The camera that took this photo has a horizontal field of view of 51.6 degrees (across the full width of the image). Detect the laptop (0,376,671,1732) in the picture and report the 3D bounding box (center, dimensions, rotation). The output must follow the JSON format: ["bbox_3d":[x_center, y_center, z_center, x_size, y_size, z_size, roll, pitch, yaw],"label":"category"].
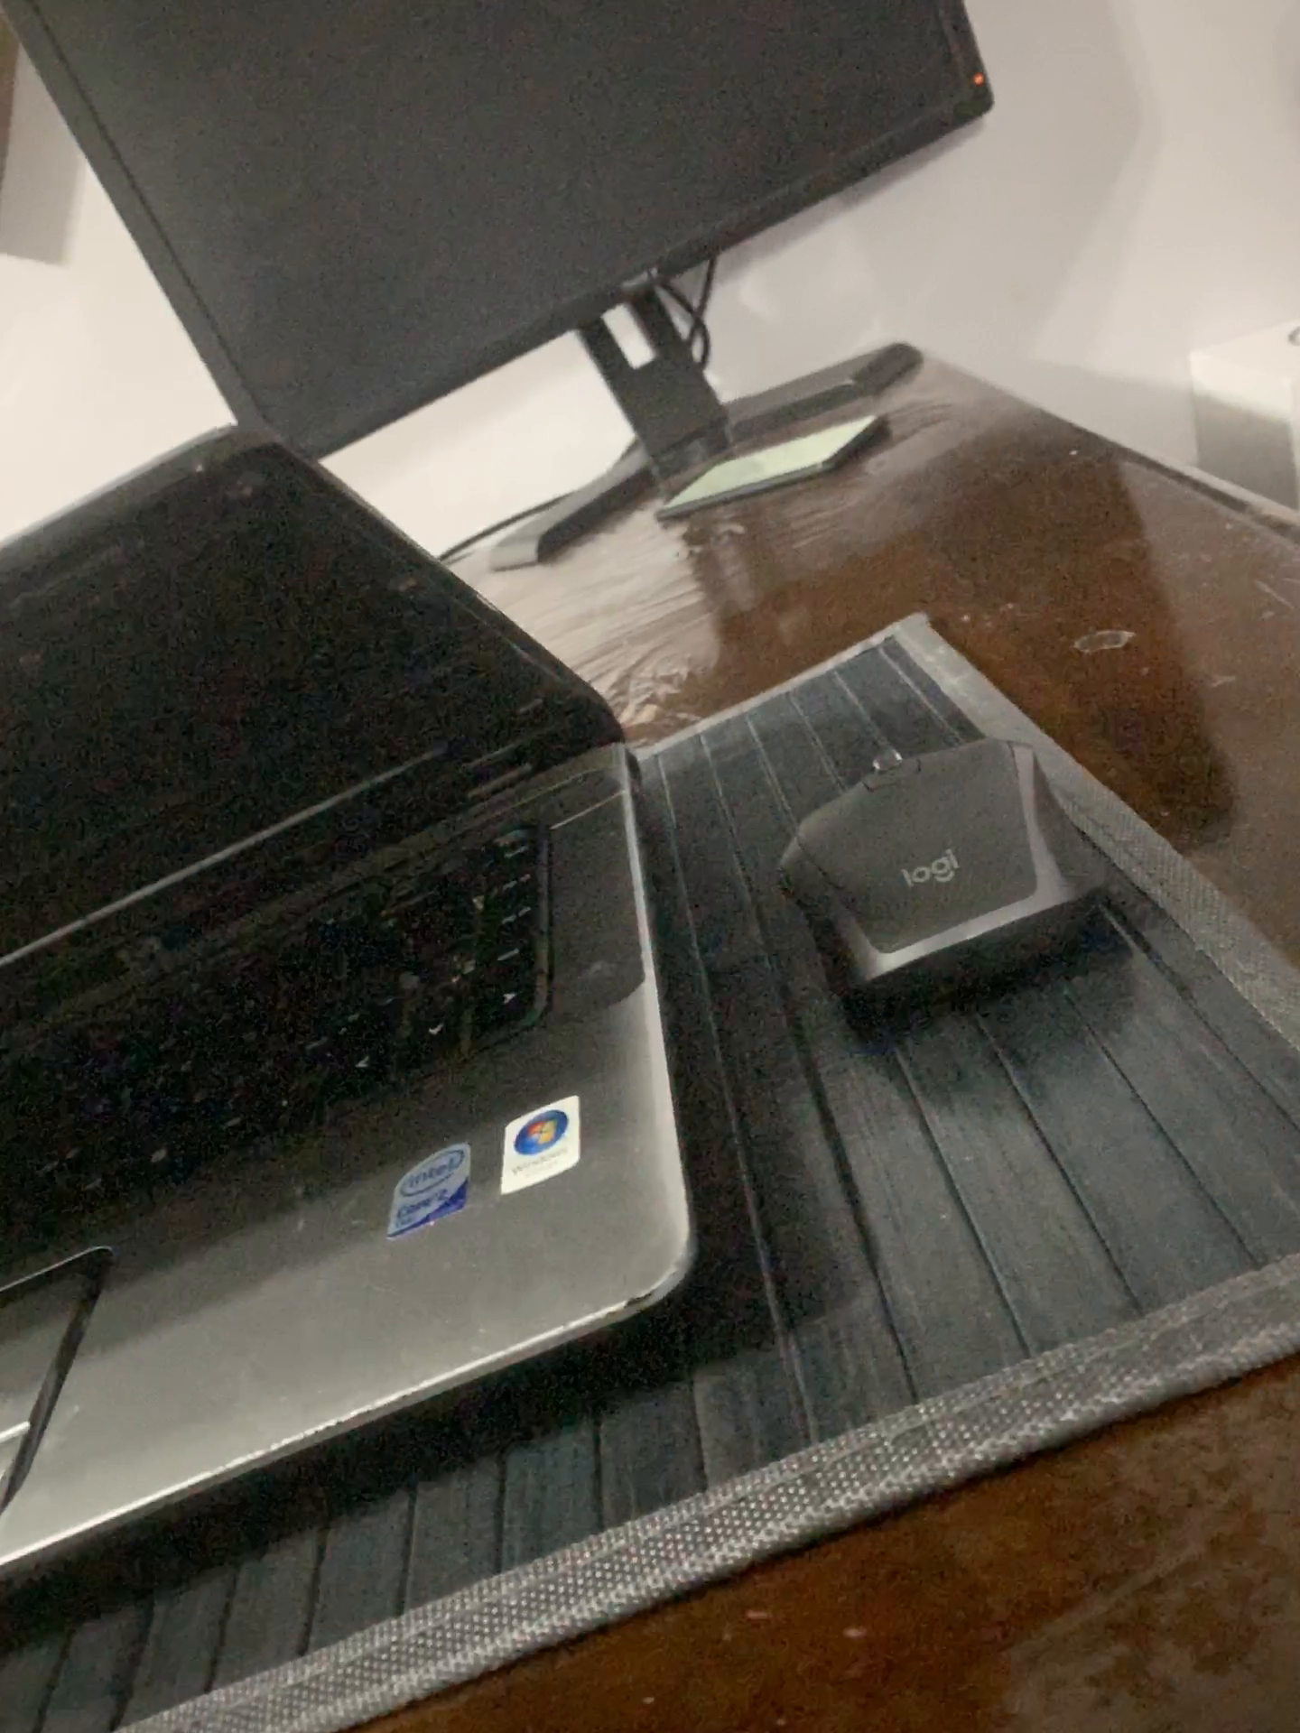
[{"bbox_3d":[-0.186,0.030,0.311,0.342,0.109,0.245,-24,26,5],"label":"laptop"}]
